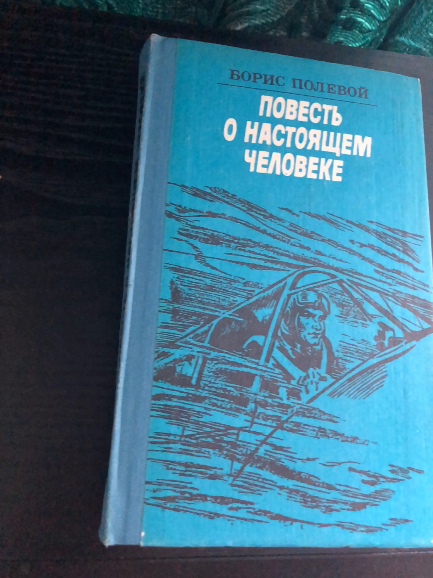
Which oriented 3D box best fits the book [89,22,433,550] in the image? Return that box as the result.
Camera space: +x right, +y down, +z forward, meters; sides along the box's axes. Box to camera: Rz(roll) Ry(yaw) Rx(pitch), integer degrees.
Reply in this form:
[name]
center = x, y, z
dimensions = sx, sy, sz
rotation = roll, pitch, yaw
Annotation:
[book]
center = 0.024, -0.006, 0.189
dimensions = 0.123, 0.020, 0.190
rotation = 4, 76, -9
